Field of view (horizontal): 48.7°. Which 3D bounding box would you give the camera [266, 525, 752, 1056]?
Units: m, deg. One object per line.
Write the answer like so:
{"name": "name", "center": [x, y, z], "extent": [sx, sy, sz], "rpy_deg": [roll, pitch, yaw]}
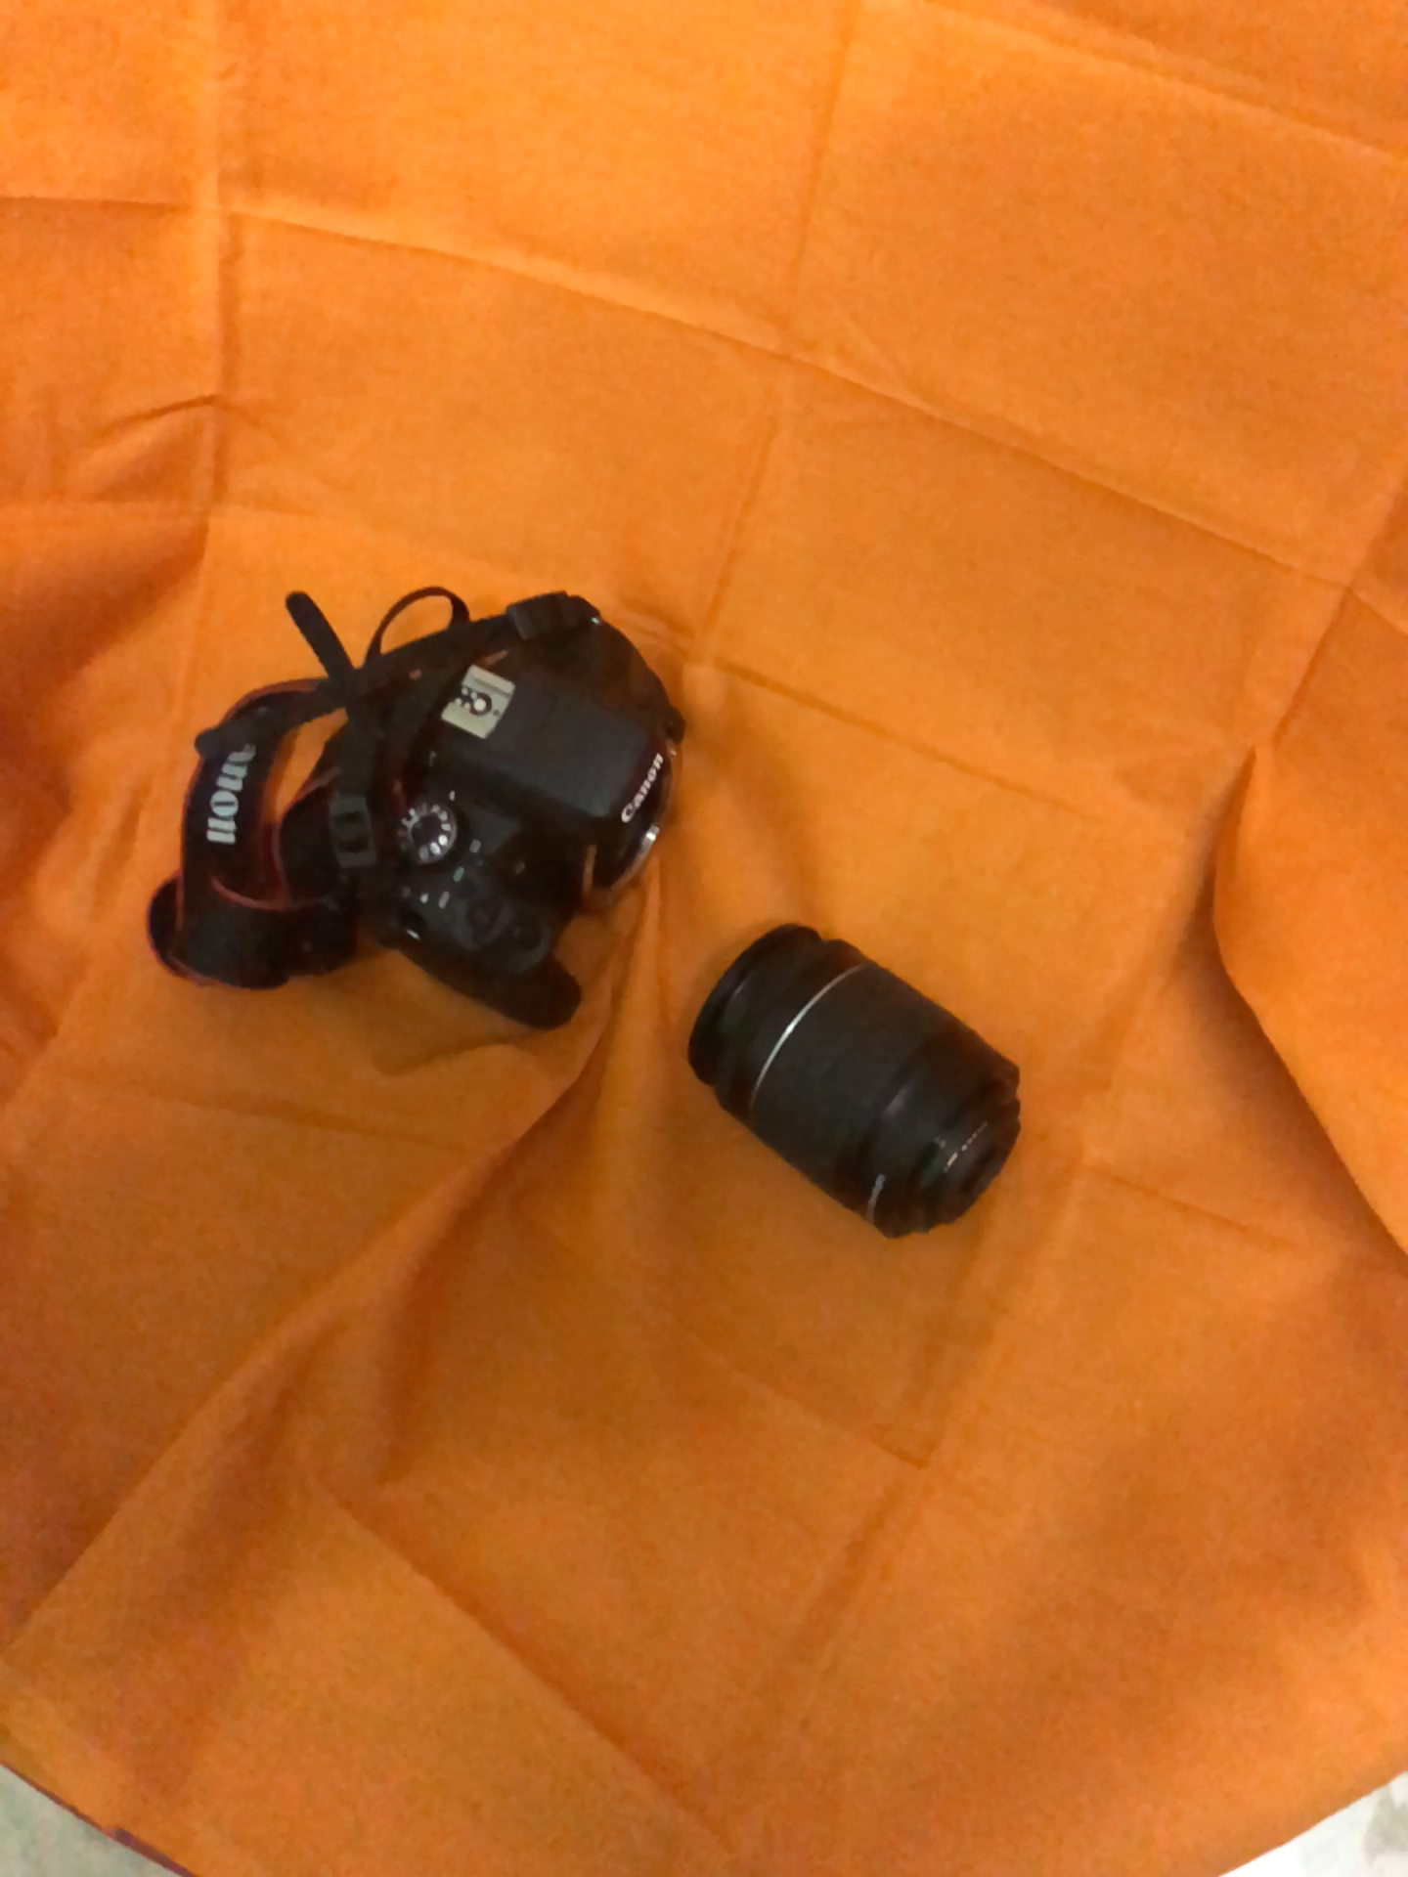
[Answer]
{"name": "camera", "center": [-0.059, -0.048, 0.515], "extent": [0.092, 0.071, 0.133], "rpy_deg": [26, 76, 14]}
